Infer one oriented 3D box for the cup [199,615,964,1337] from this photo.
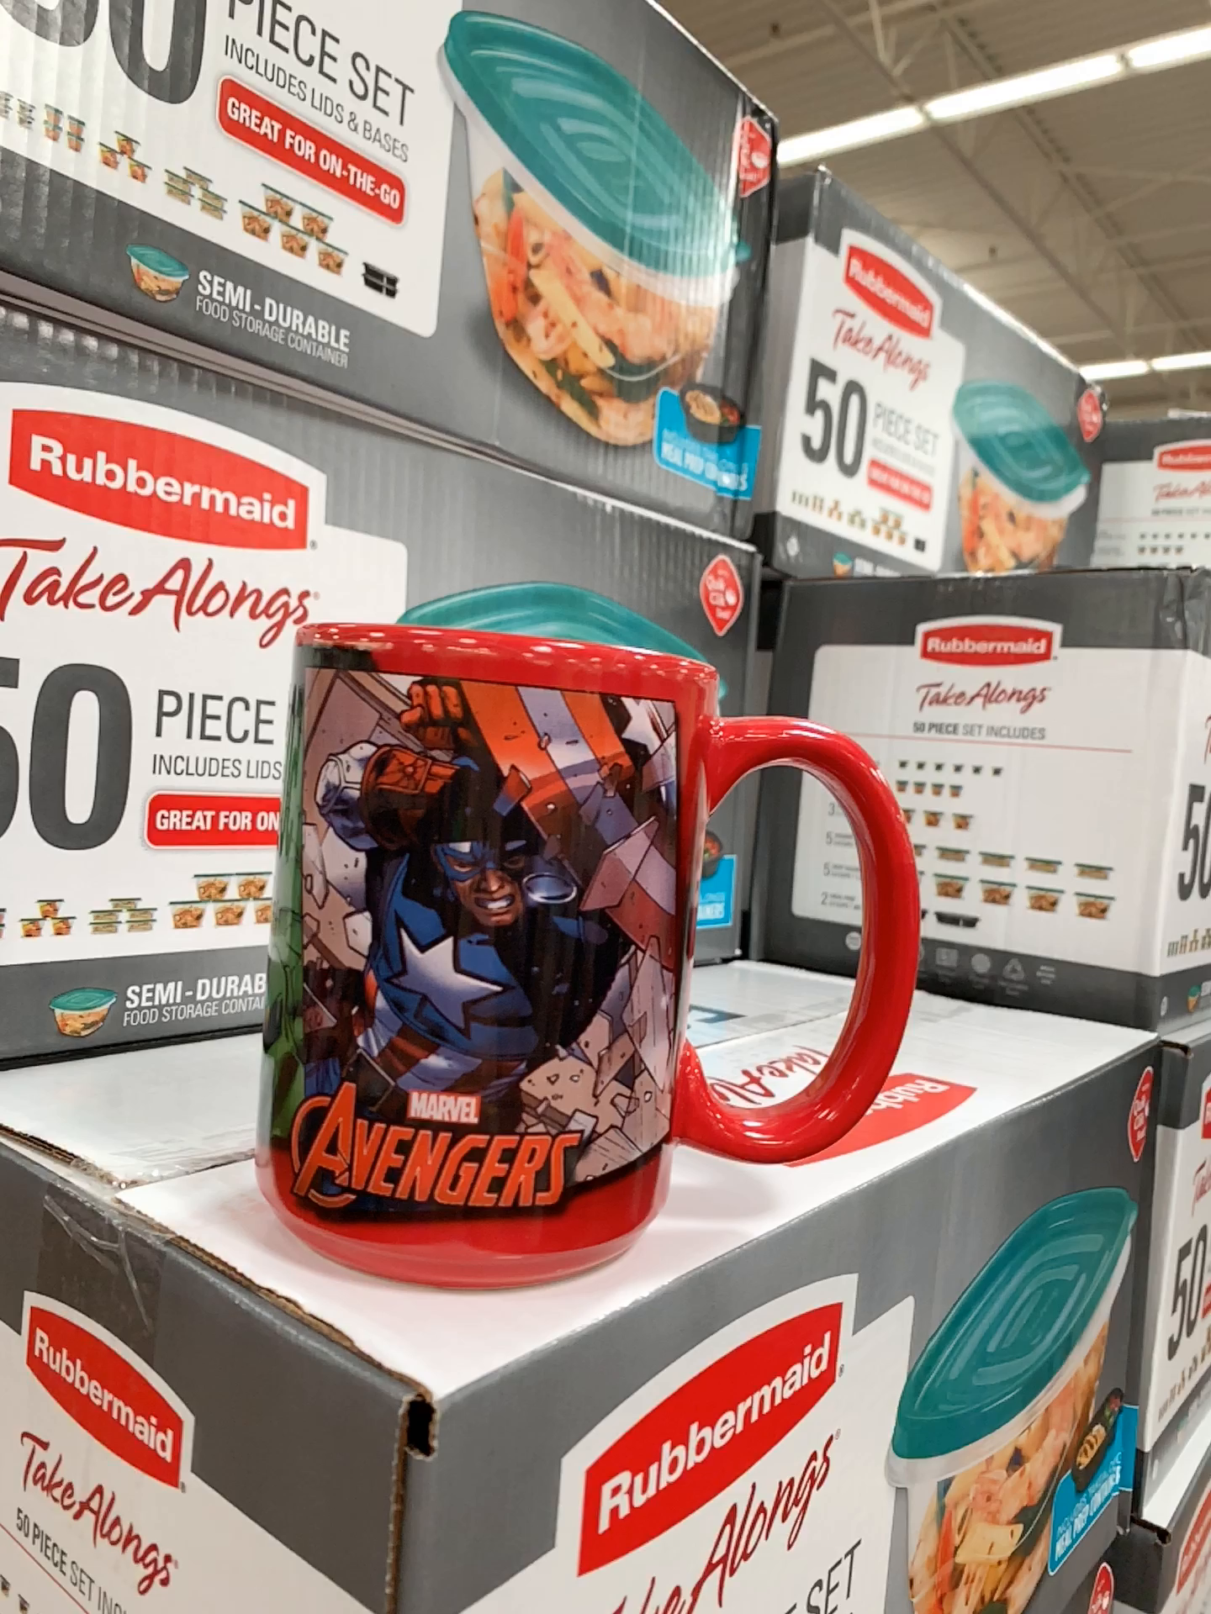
[{"bbox_3d":[-0.006,0.025,0.261,0.119,0.114,0.100,5,6,-1],"label":"cup"}]
